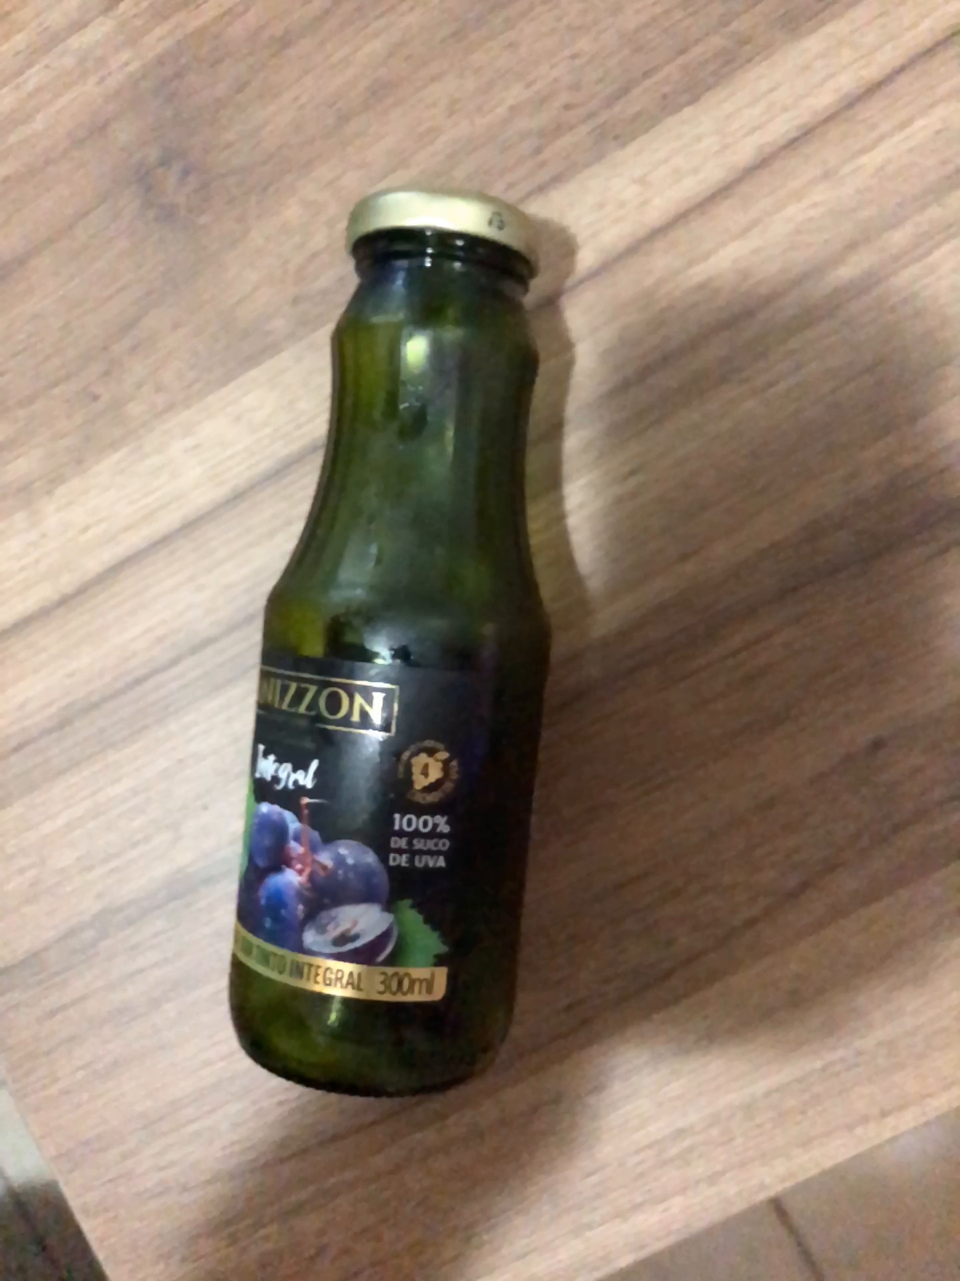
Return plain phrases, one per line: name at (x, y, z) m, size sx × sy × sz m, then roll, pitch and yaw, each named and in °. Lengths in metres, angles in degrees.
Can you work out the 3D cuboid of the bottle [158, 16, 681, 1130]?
bottle at (-0.014, -0.012, 0.242) m, size 0.070 × 0.070 × 0.200 m, roll 8°, pitch 93°, yaw 44°
